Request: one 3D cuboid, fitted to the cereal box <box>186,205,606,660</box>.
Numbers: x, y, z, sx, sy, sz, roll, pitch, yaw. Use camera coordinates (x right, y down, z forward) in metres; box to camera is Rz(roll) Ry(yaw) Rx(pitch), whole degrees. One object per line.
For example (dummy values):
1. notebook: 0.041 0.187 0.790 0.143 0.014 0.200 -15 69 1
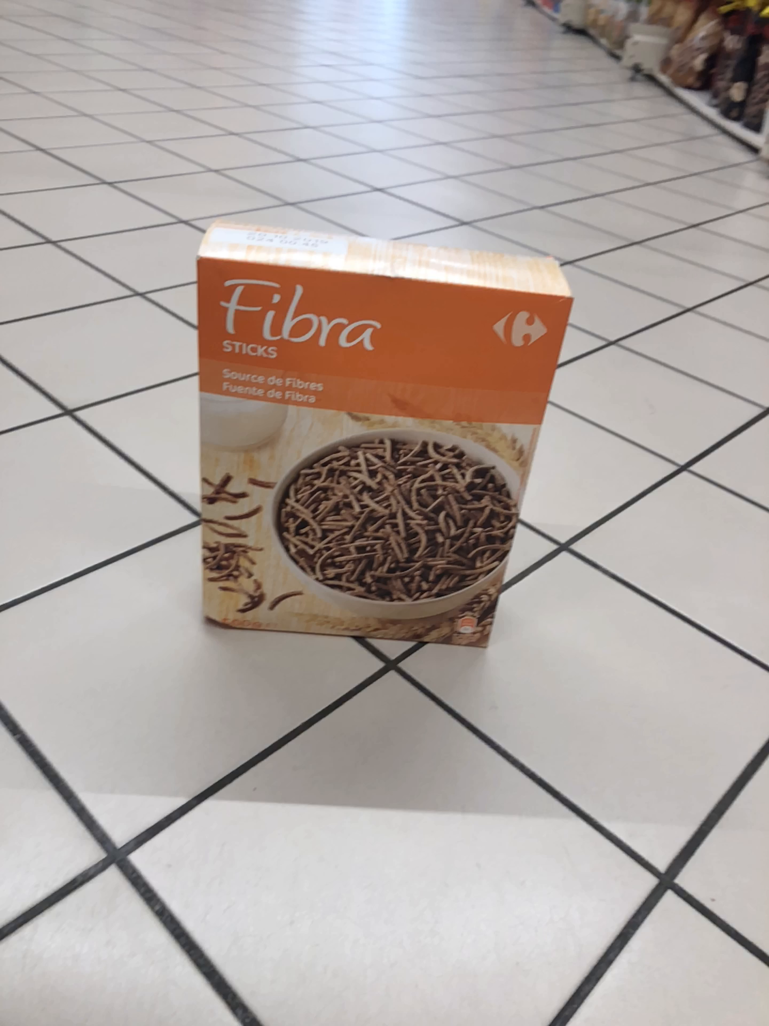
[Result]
1. cereal box: -0.006 -0.037 0.500 0.200 0.238 0.081 6 35 -4
